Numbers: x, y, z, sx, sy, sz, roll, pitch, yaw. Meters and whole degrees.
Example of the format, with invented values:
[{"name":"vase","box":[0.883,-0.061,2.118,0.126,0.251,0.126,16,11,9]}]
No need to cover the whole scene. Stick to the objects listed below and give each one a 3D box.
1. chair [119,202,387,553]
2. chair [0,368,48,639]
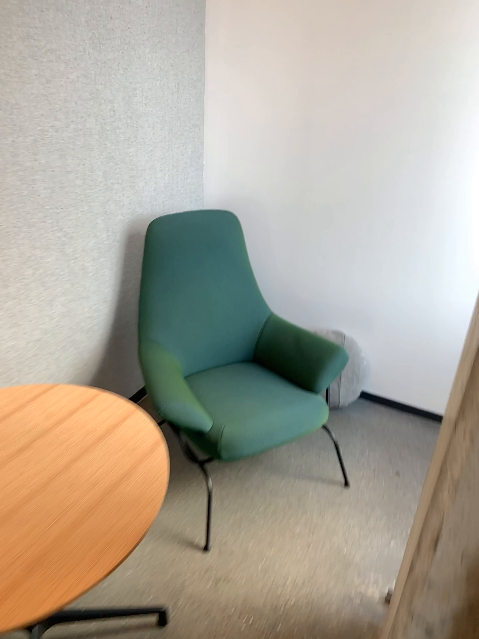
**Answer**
[{"name":"chair","box":[-0.008,0.150,1.953,0.651,1.014,0.754,-12,29,-28]},{"name":"chair","box":[-0.917,0.778,0.679,0.842,0.994,0.723,16,30,27]}]
